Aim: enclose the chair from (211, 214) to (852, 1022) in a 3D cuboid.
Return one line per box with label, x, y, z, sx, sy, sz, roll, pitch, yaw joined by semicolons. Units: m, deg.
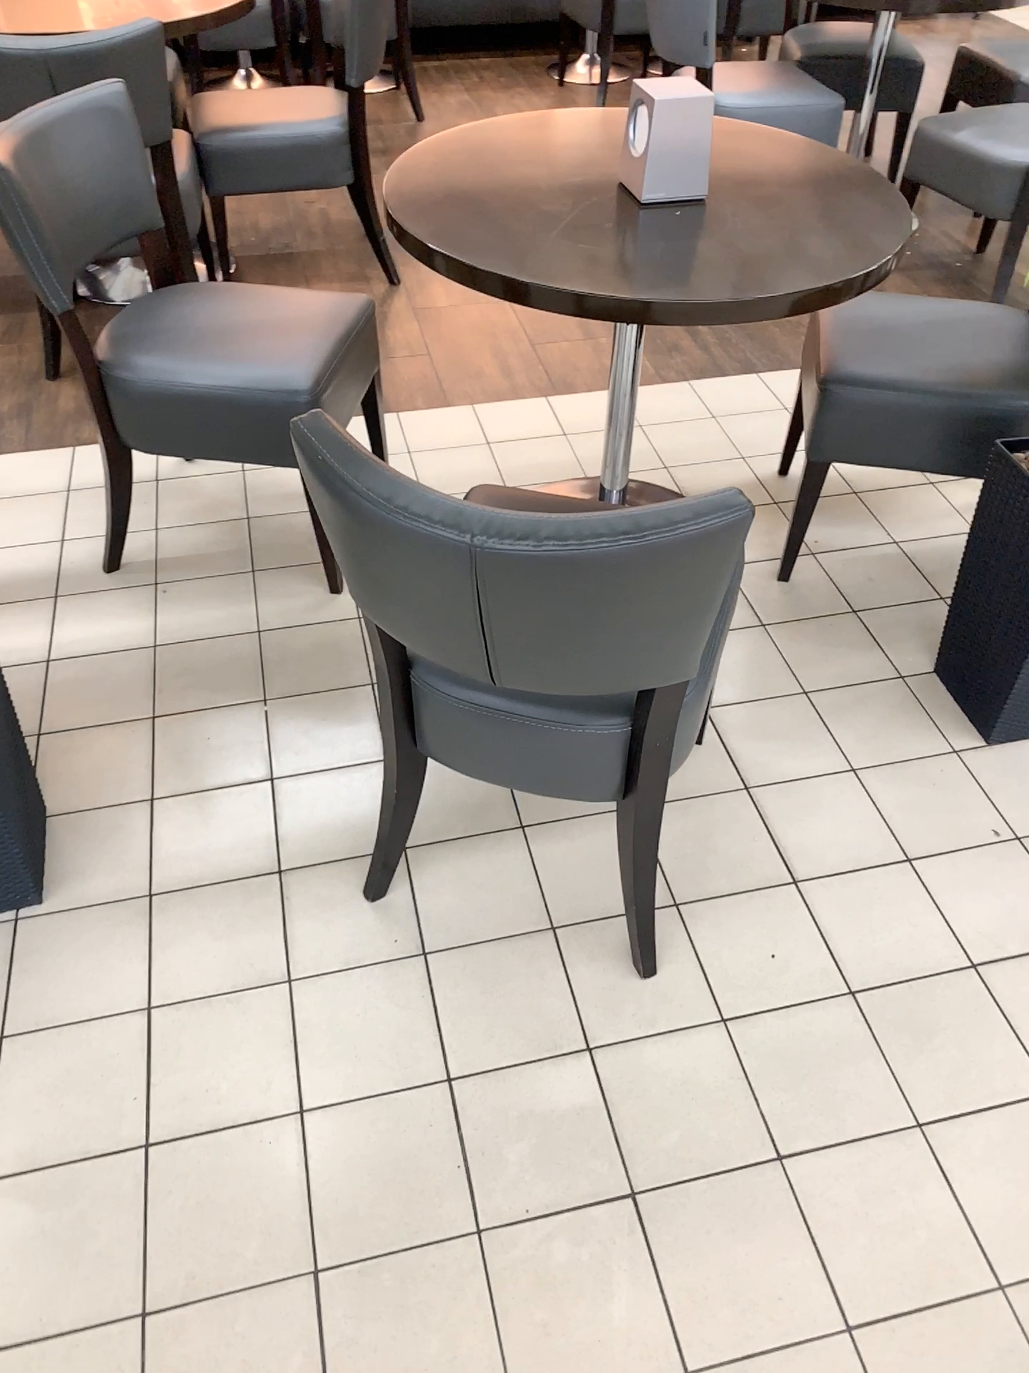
chair;0.064;-0.100;1.453;0.550;0.796;0.643;13;45;13
